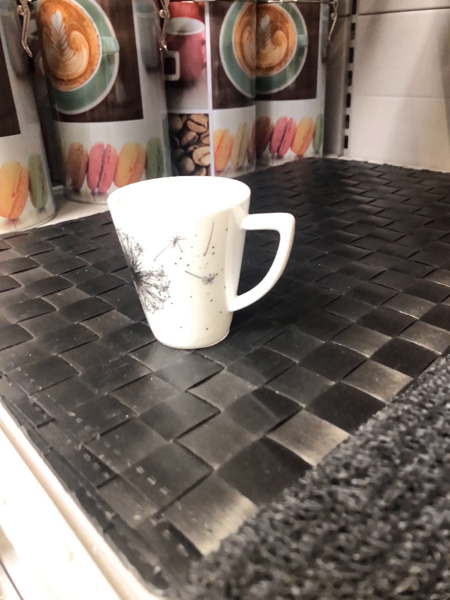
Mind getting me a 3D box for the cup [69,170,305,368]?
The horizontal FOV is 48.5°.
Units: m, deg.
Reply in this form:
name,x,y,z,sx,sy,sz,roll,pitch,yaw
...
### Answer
name,x,y,z,sx,sy,sz,roll,pitch,yaw
cup,-0.011,-0.017,0.218,0.081,0.060,0.057,6,34,18
